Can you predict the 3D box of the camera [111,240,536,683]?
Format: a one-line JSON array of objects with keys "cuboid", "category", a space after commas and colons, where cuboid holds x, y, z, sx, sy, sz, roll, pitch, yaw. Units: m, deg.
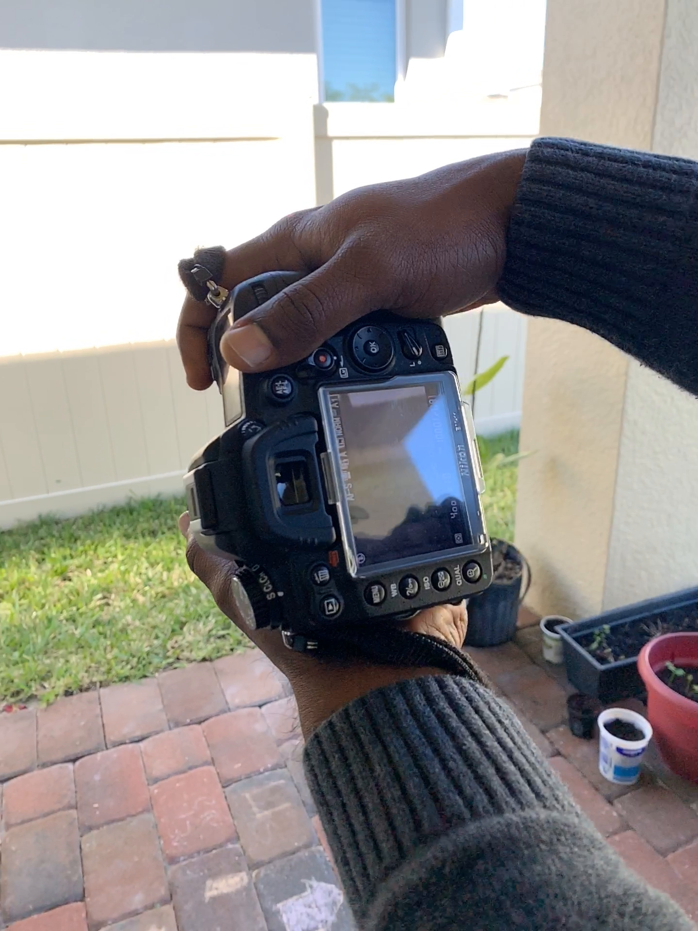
[{"cuboid": [-0.027, -0.003, 0.280, 0.090, 0.110, 0.170, -11, 2, -24], "category": "camera"}]
